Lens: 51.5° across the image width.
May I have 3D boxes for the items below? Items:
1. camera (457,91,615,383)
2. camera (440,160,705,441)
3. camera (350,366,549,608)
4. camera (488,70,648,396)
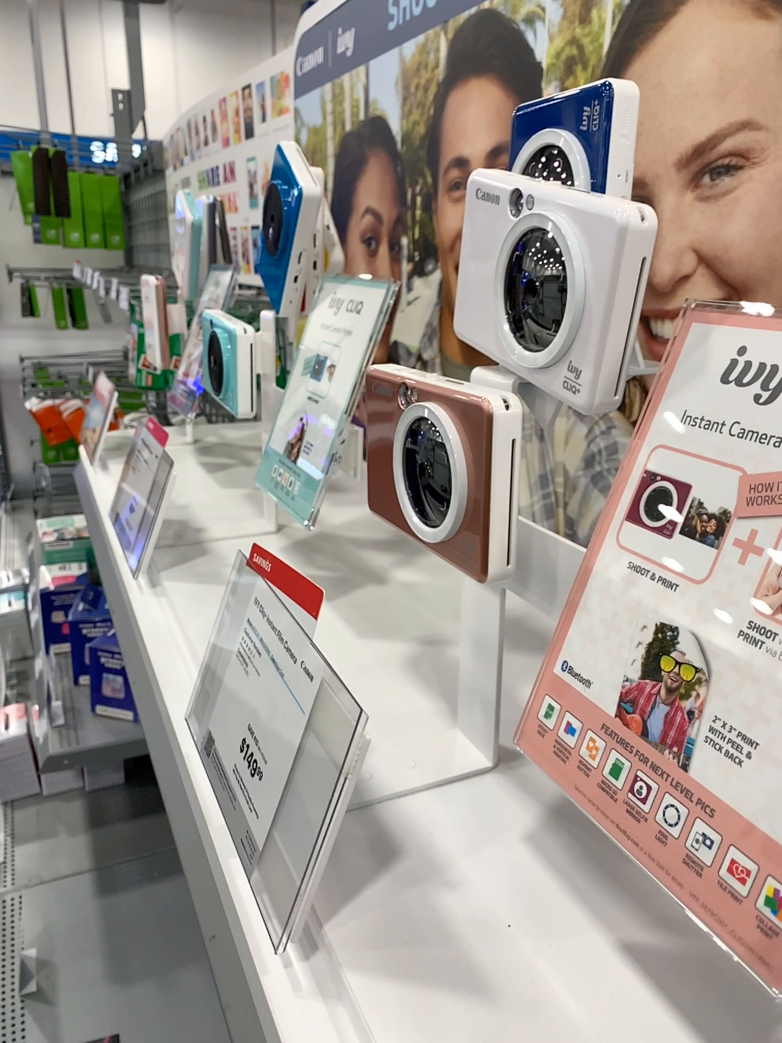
[{"bbox_3d":[0.072,-0.145,0.426,0.030,0.120,0.080,-5,-11,-17],"label":"camera"},{"bbox_3d":[0.069,-0.100,0.351,0.030,0.089,0.121,-8,31,-25],"label":"camera"},{"bbox_3d":[0.020,-0.022,0.368,0.030,0.080,0.120,-8,20,-26],"label":"camera"},{"bbox_3d":[0.078,-0.130,0.382,0.030,0.129,0.080,-5,18,-17],"label":"camera"}]
